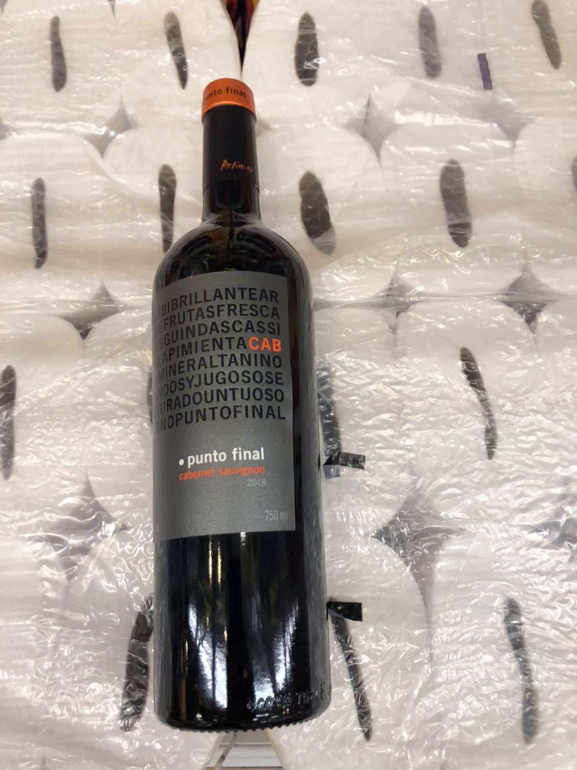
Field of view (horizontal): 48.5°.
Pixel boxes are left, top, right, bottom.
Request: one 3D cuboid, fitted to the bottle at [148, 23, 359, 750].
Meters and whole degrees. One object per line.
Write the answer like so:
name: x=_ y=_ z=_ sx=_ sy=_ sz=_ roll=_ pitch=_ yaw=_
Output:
bottle: x=-0.020 y=-0.019 z=0.291 sx=0.070 sy=0.060 sz=0.311 roll=-3 pitch=71 yaw=-1
